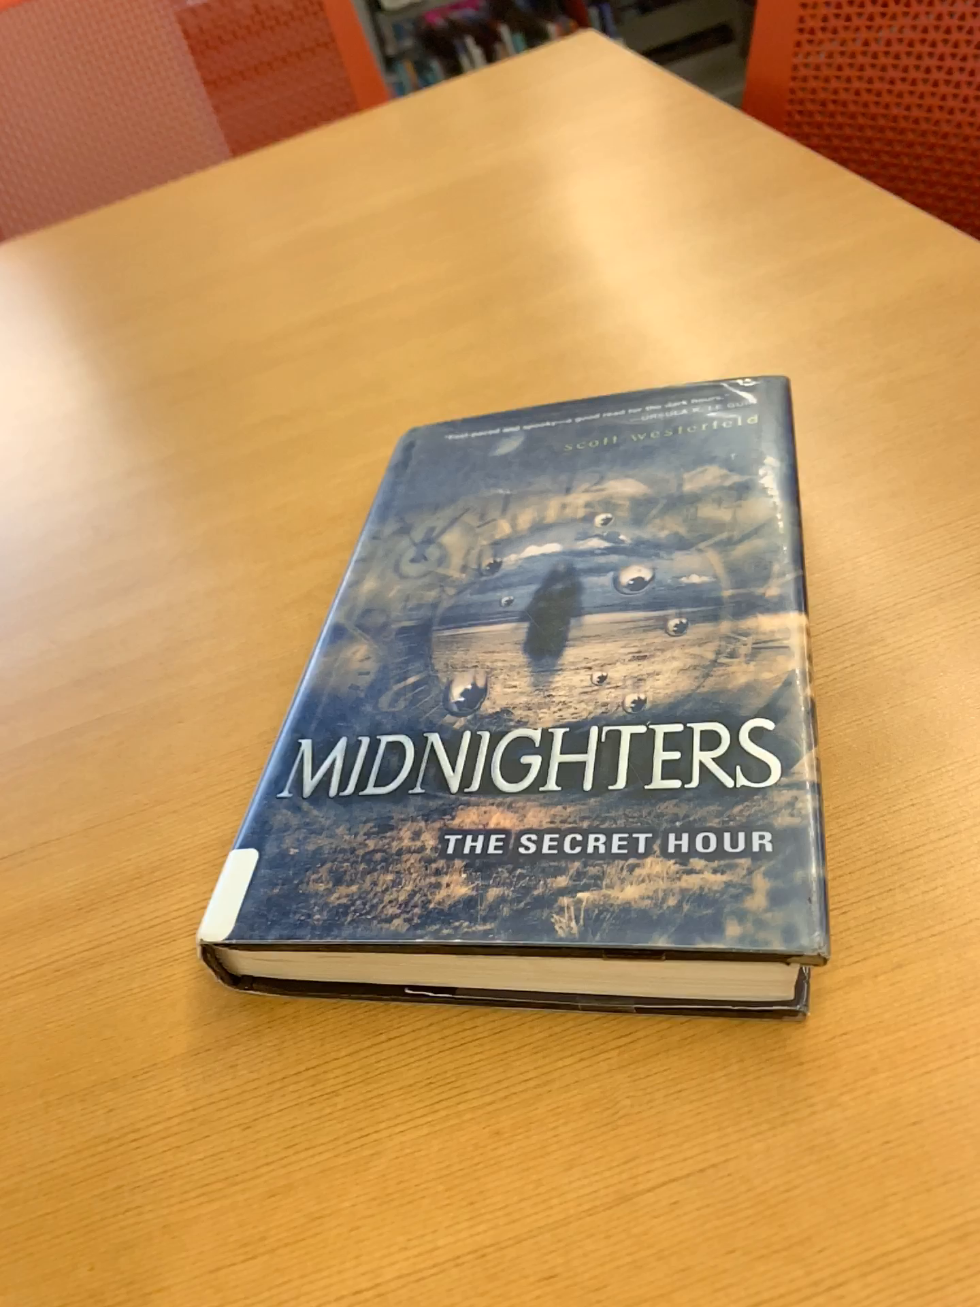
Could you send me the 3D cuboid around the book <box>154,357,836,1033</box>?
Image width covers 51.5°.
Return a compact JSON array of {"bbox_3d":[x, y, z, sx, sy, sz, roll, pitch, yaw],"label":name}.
[{"bbox_3d":[0.016,-0.004,0.302,0.150,0.040,0.215,-4,44,17],"label":"book"}]
